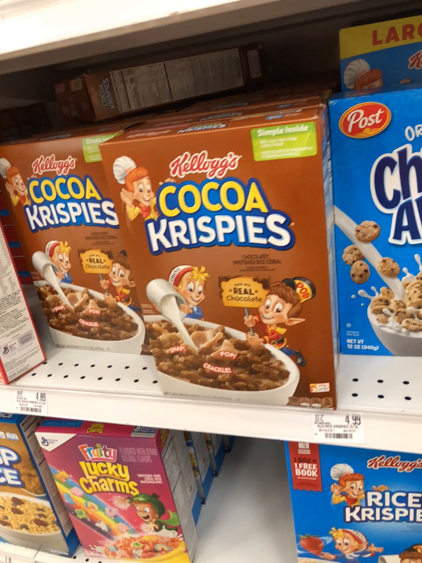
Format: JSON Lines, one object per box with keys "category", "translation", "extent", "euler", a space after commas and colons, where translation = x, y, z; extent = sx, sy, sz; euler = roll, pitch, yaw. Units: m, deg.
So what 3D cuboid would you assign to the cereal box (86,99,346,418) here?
{"category": "cereal box", "translation": [0.021, -0.008, 0.461], "extent": [0.200, 0.289, 0.070], "euler": [-1, 28, 20]}
